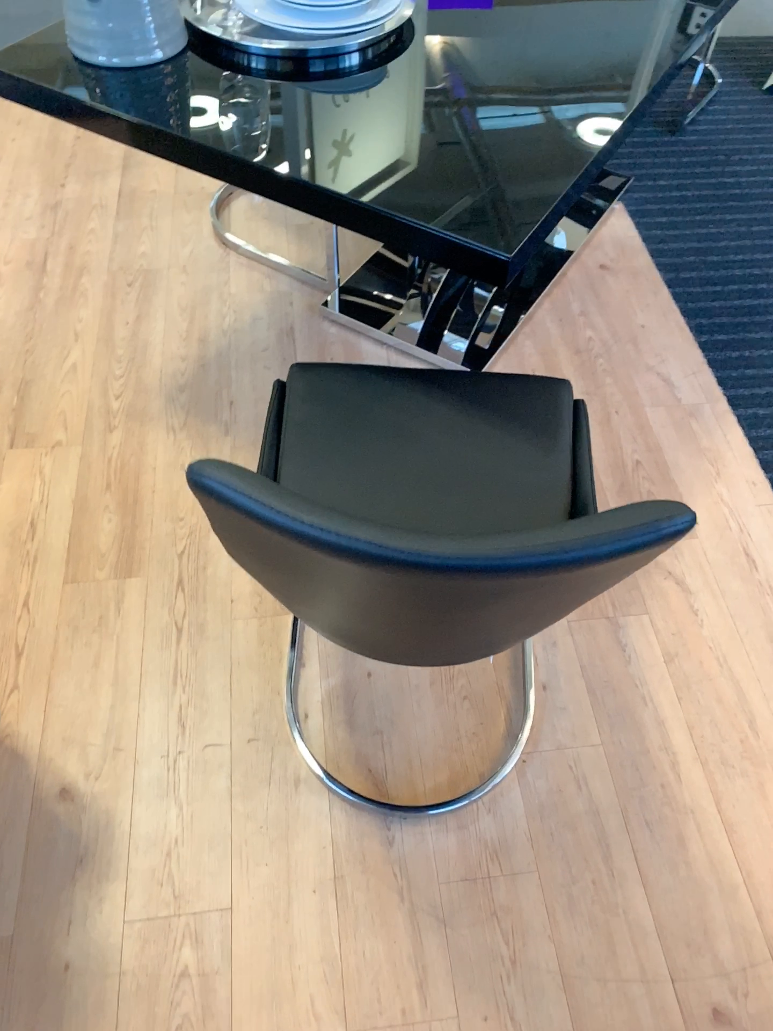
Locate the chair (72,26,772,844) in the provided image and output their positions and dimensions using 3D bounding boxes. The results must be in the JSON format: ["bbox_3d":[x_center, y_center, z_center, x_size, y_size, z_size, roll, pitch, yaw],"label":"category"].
[{"bbox_3d":[0.060,-0.035,1.000,0.505,0.813,0.635,2,53,0],"label":"chair"}]
